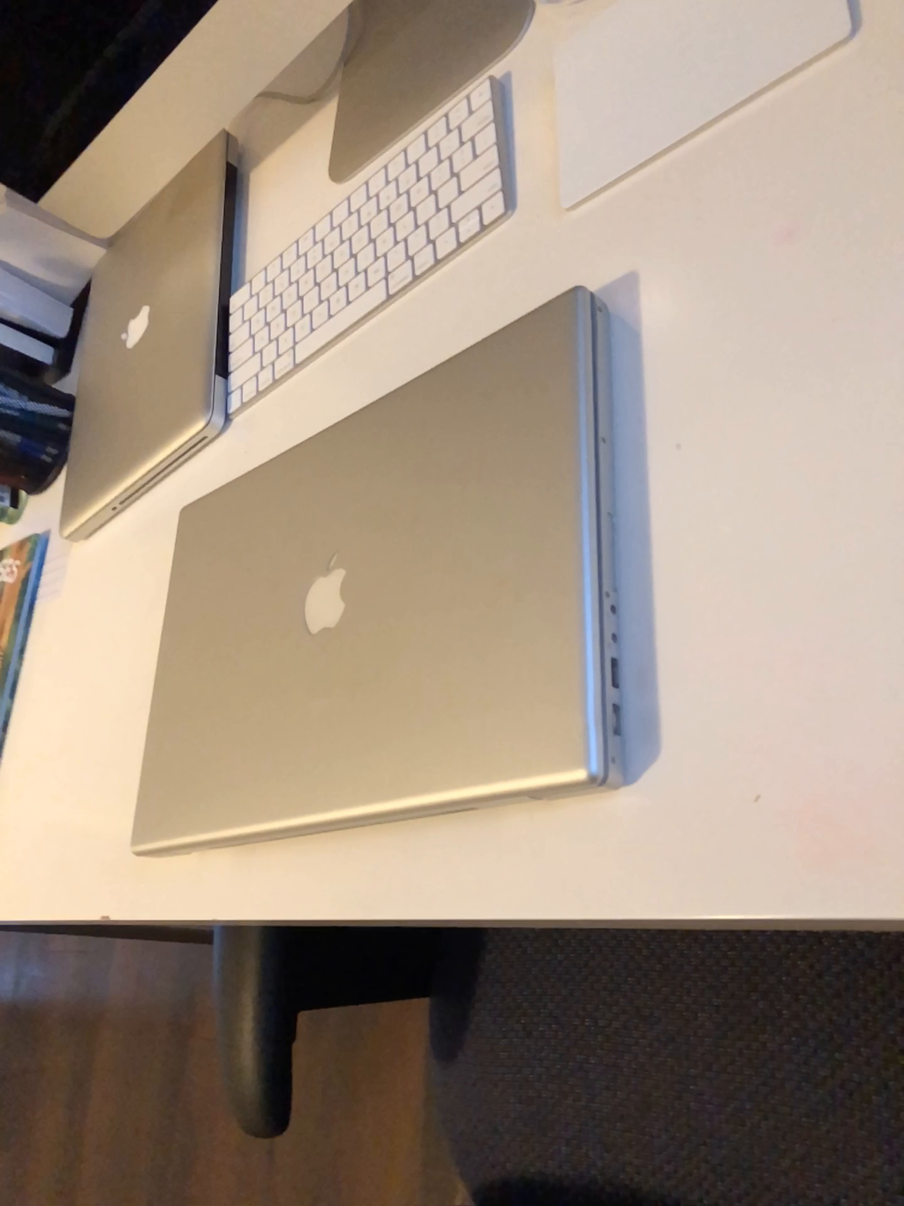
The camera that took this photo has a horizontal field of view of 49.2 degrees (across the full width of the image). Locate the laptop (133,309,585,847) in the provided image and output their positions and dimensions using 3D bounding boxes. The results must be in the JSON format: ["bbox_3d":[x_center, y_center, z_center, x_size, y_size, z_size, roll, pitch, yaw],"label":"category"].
[{"bbox_3d":[-0.068,0.007,0.529,0.334,0.005,0.214,-18,63,40],"label":"laptop"}]

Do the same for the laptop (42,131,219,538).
[{"bbox_3d":[-0.271,-0.226,0.833,0.201,0.009,0.278,-23,60,35],"label":"laptop"}]
